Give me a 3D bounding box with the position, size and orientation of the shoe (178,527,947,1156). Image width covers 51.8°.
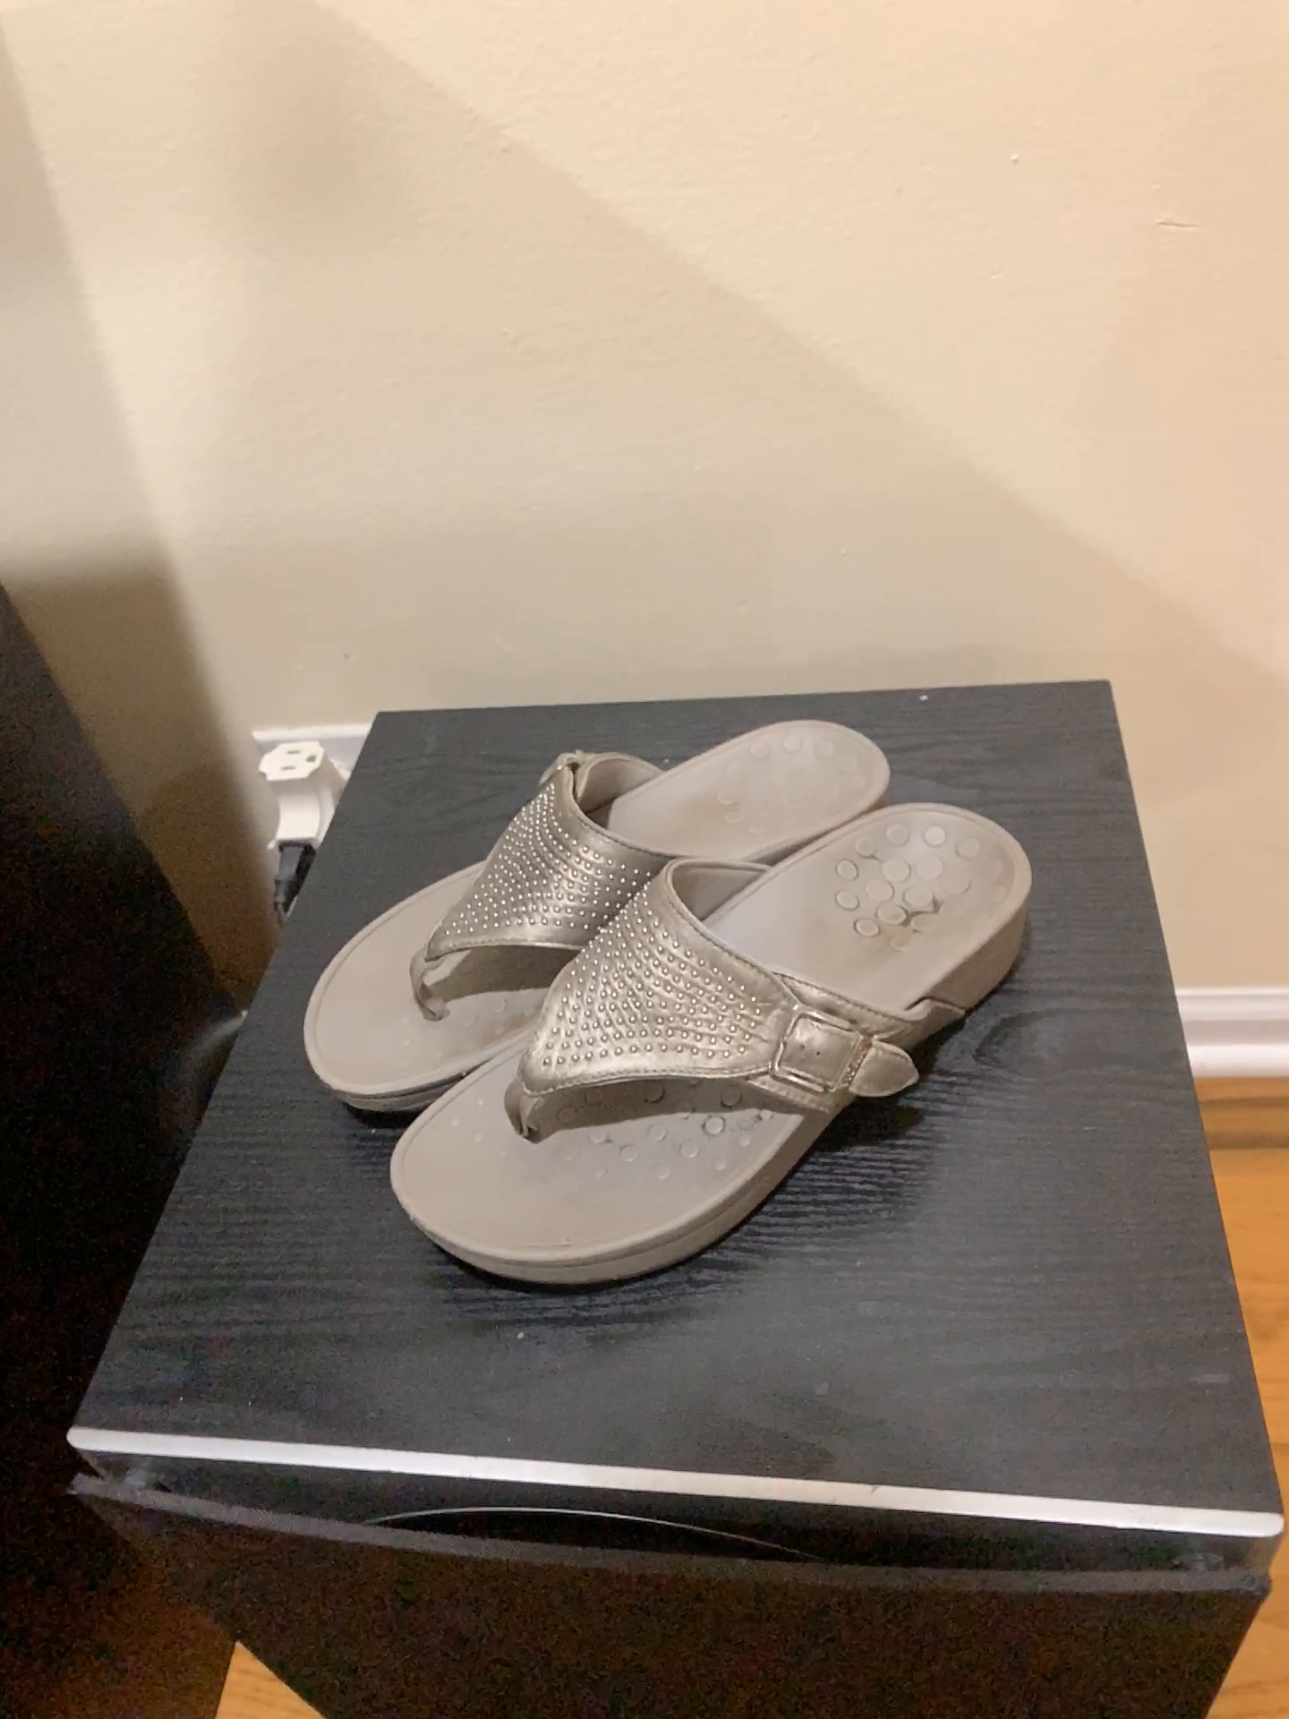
[{"bbox_3d":[-0.021,-0.018,0.482,0.248,0.080,0.109,-30,46,-18],"label":"shoe"}]

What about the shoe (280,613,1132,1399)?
[{"bbox_3d":[0.029,0.031,0.423,0.248,0.080,0.108,-35,48,-23],"label":"shoe"}]
